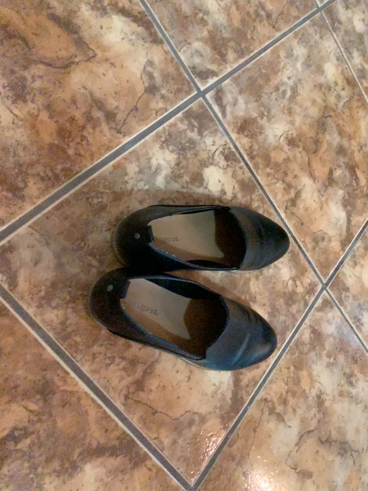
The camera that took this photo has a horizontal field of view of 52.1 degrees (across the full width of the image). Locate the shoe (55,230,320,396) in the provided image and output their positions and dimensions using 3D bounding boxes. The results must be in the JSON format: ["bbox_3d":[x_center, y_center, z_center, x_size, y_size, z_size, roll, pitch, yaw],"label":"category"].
[{"bbox_3d":[0.018,0.078,0.377,0.256,0.070,0.086,23,71,-27],"label":"shoe"}]

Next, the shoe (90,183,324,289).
[{"bbox_3d":[0.036,-0.007,0.413,0.256,0.070,0.087,-1,83,-32],"label":"shoe"}]
